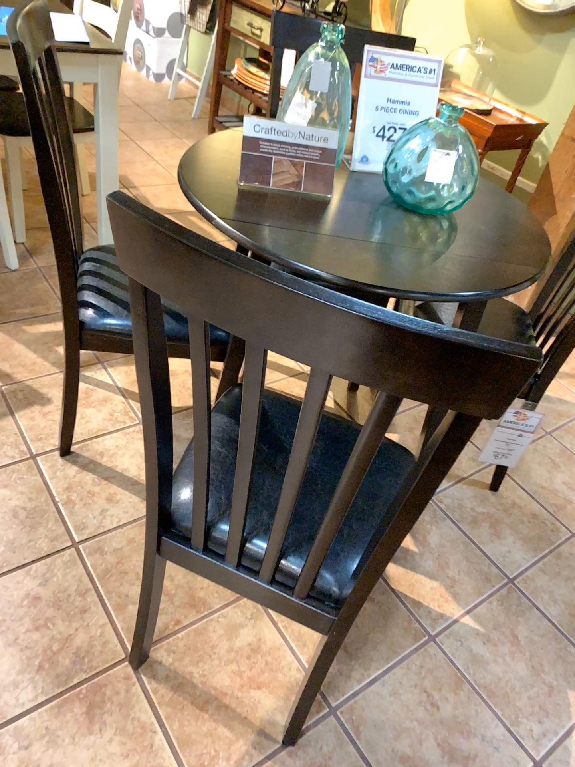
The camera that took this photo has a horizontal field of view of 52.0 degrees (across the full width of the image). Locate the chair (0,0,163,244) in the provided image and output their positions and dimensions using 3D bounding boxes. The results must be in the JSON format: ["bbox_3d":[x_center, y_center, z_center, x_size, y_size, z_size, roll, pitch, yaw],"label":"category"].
[{"bbox_3d":[-0.782,-1.011,2.102,0.522,0.884,0.405,-11,45,-27],"label":"chair"}]

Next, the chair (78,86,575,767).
[{"bbox_3d":[0.045,0.110,0.981,0.454,0.923,0.564,22,40,11],"label":"chair"}]

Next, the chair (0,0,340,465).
[{"bbox_3d":[-0.300,-0.292,1.349,0.541,0.933,0.386,-2,42,-18],"label":"chair"}]
